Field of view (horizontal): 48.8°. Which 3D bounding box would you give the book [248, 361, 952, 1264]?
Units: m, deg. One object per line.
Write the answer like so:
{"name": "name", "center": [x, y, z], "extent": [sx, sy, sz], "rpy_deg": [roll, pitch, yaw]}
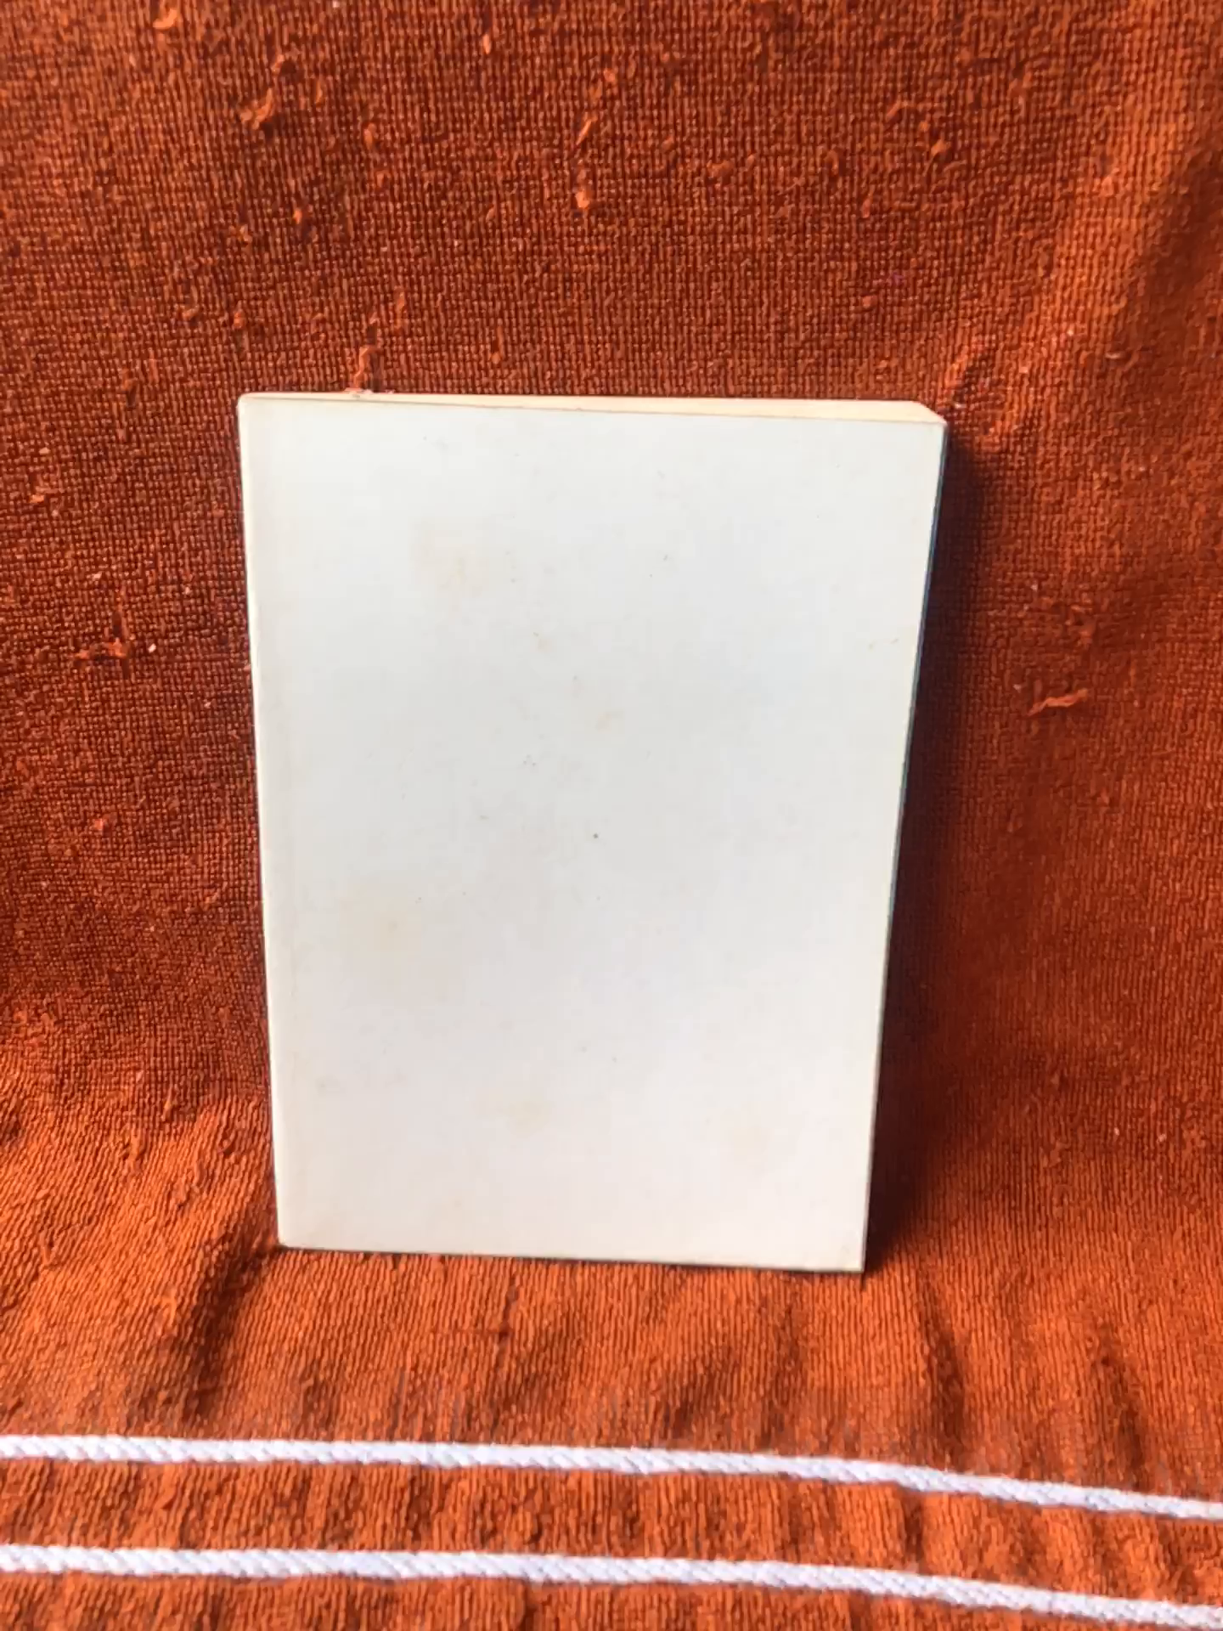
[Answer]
{"name": "book", "center": [-0.007, 0.002, 0.320], "extent": [0.150, 0.200, 0.030], "rpy_deg": [3, 9, 0]}
